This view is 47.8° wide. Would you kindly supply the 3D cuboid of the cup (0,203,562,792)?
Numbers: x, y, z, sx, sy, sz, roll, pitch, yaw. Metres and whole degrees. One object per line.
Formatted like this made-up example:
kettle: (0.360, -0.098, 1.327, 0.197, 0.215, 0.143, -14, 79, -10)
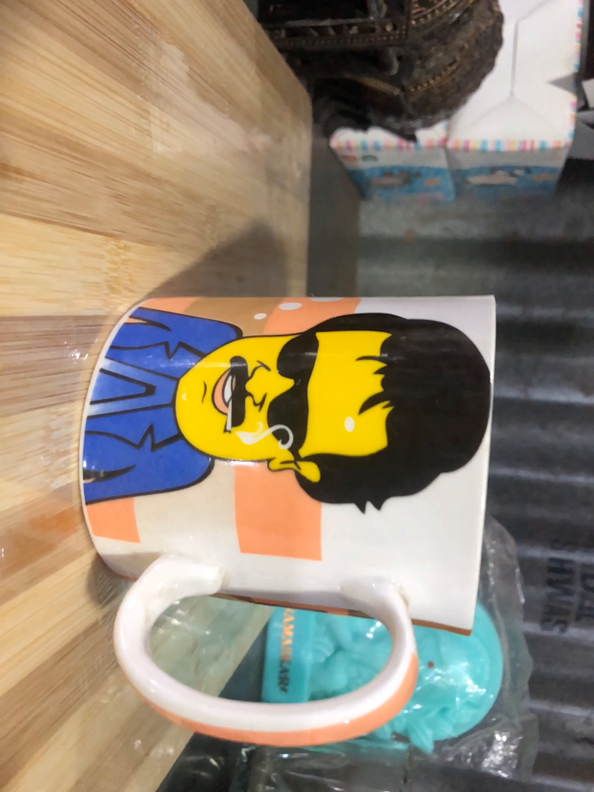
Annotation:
cup: (0.004, 0.018, 0.154, 0.070, 0.090, 0.110, 81, 18, -48)
